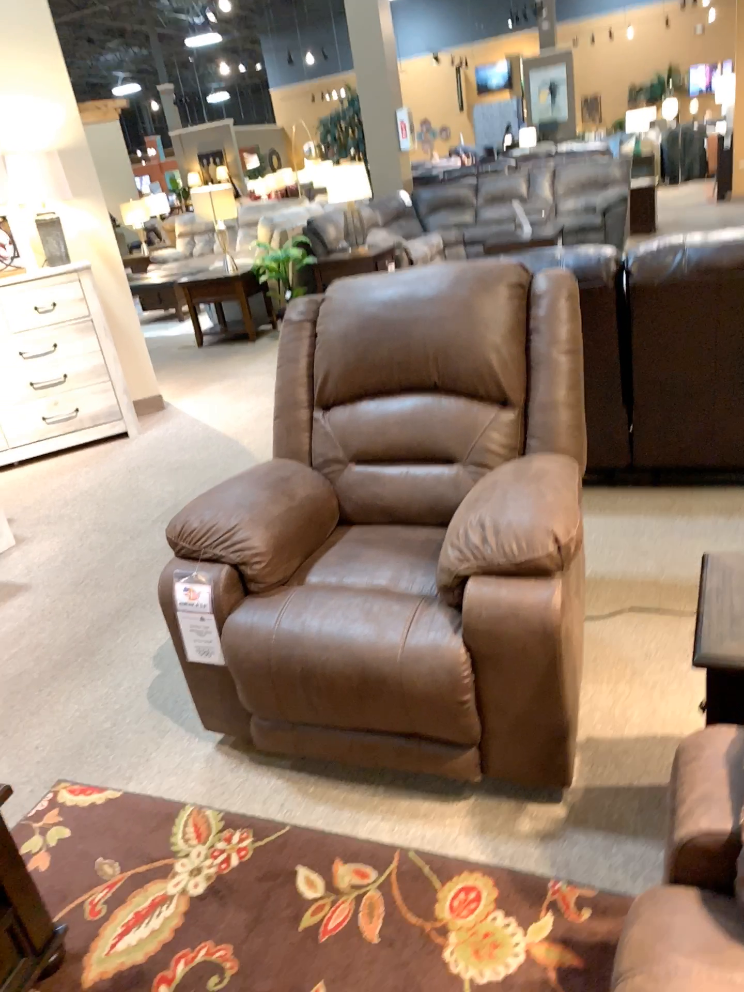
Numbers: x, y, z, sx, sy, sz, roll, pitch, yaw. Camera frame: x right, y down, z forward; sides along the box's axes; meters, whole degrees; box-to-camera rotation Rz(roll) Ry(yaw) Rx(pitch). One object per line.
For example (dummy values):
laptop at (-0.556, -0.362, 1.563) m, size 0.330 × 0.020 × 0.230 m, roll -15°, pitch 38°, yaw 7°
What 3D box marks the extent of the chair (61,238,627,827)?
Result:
chair at (0.085, -0.013, 2.031) m, size 1.002 × 1.027 × 1.068 m, roll 1°, pitch 26°, yaw 25°
